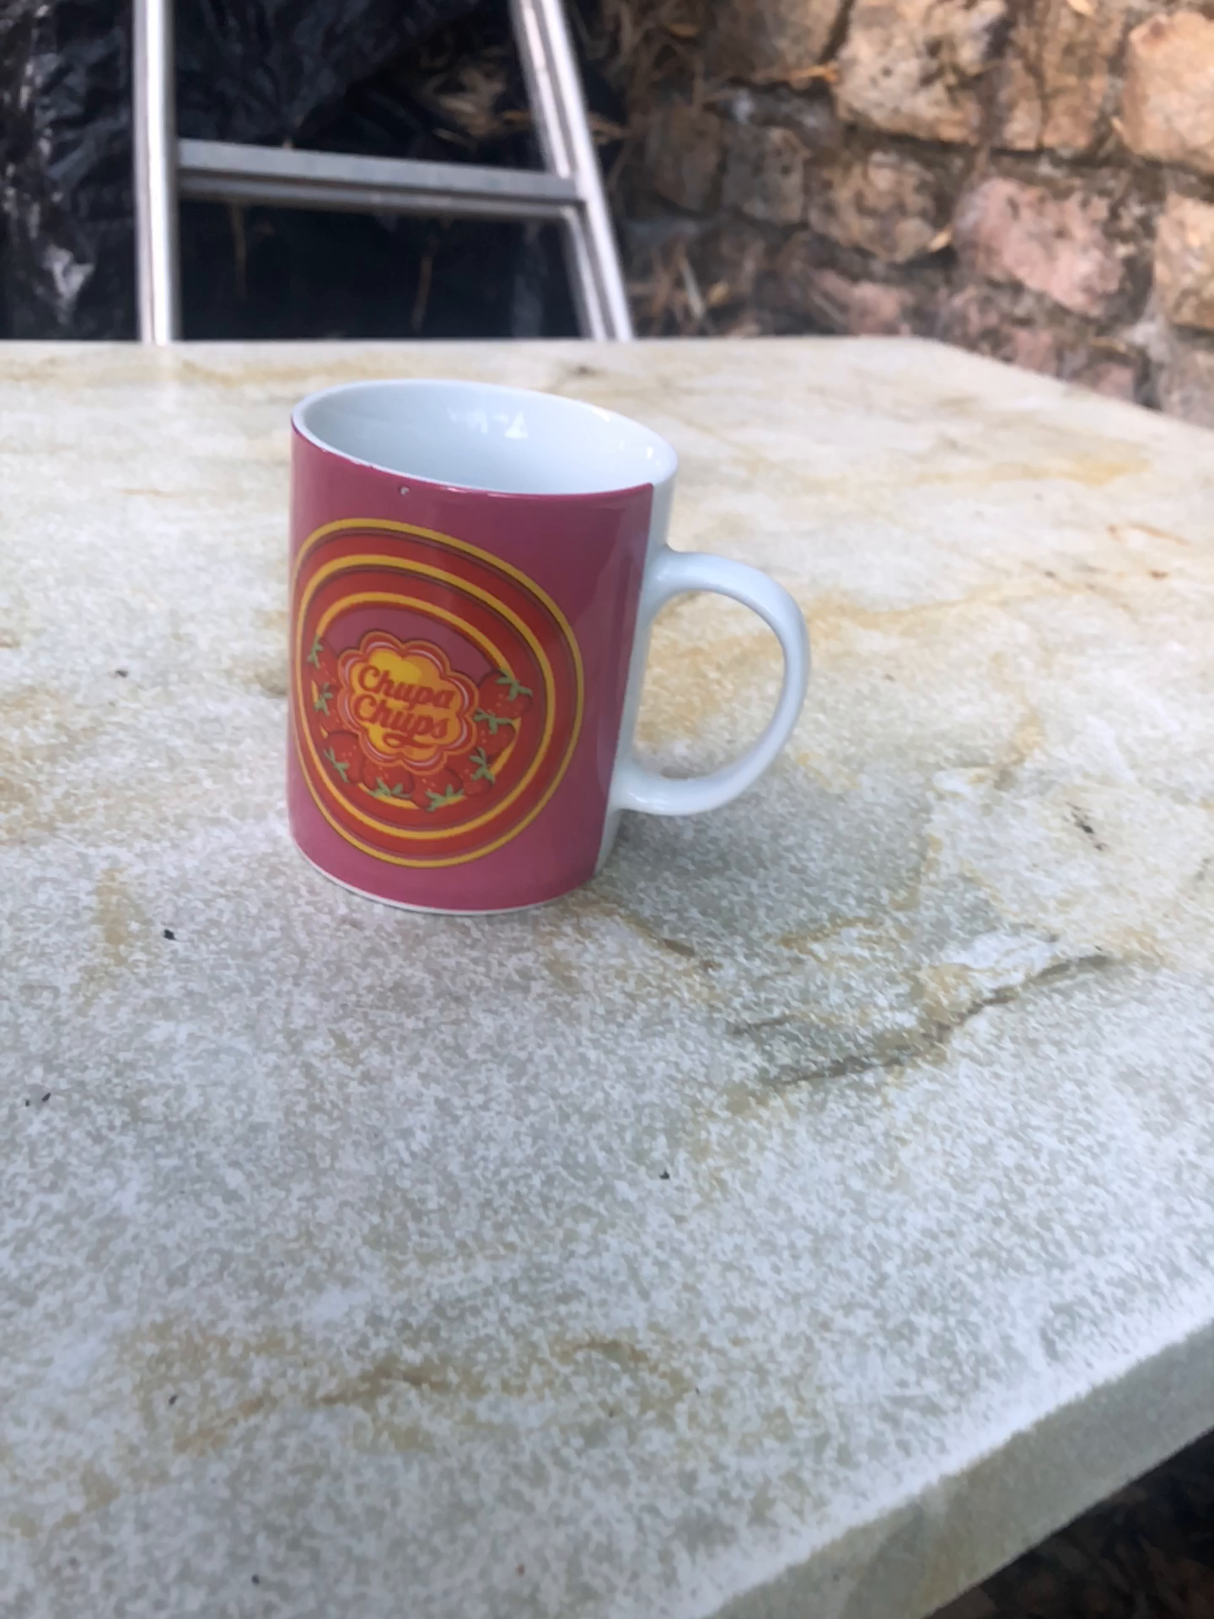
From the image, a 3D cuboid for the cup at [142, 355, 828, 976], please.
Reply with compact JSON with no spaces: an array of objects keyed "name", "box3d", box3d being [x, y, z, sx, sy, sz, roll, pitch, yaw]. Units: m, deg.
[{"name":"cup","box3d":[-0.022,-0.035,0.283,0.116,0.089,0.077,11,30,8]}]
